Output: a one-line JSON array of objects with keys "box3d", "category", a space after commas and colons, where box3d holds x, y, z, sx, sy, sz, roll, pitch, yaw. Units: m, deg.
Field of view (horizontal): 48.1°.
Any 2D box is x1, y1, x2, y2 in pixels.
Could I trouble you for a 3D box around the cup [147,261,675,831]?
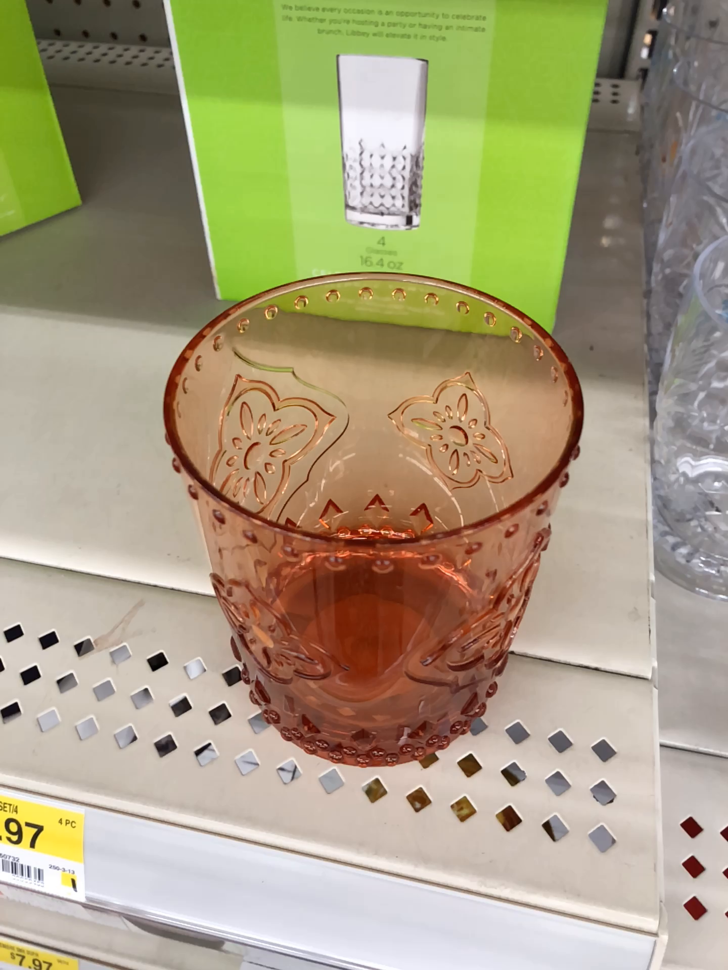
[{"box3d": [0.004, 0.018, 0.204, 0.090, 0.110, 0.080, -7, 47, -6], "category": "cup"}]
